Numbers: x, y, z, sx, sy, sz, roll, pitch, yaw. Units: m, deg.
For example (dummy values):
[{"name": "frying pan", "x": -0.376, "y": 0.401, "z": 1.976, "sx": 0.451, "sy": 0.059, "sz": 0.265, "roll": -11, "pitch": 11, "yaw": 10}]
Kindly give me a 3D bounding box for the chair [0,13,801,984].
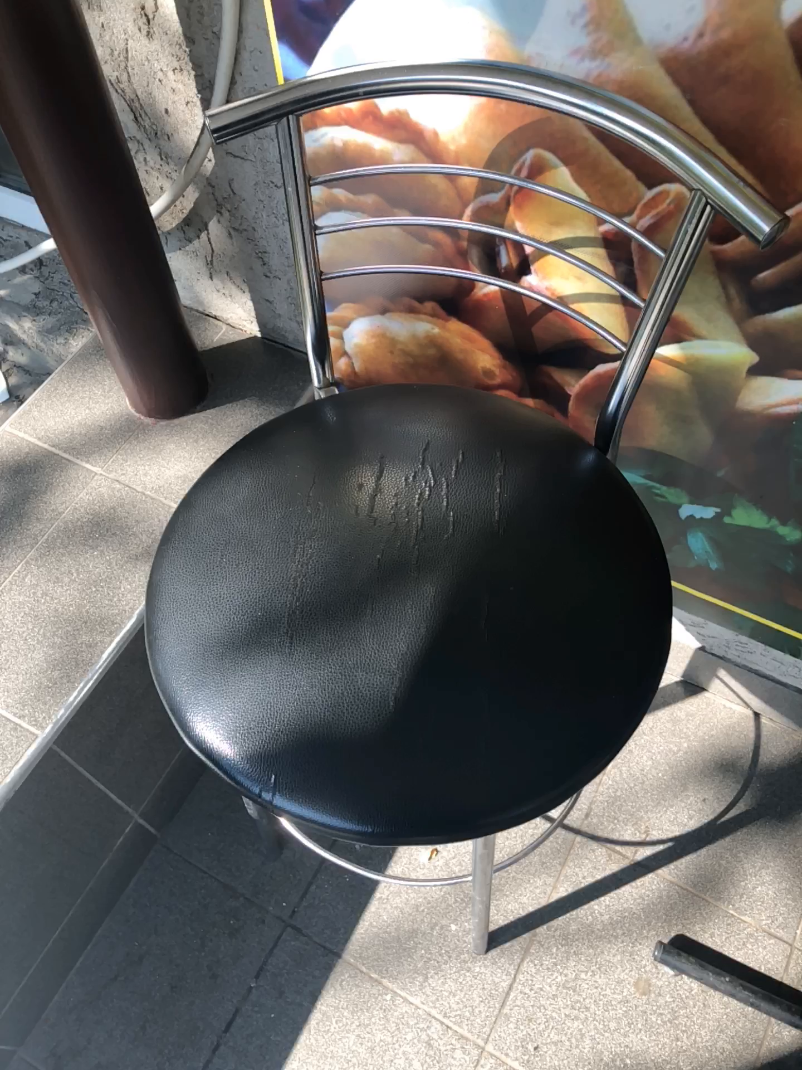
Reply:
[{"name": "chair", "x": 0.028, "y": 0.117, "z": 1.015, "sx": 0.510, "sy": 1.097, "sz": 0.501, "roll": 10, "pitch": 59, "yaw": 10}]
